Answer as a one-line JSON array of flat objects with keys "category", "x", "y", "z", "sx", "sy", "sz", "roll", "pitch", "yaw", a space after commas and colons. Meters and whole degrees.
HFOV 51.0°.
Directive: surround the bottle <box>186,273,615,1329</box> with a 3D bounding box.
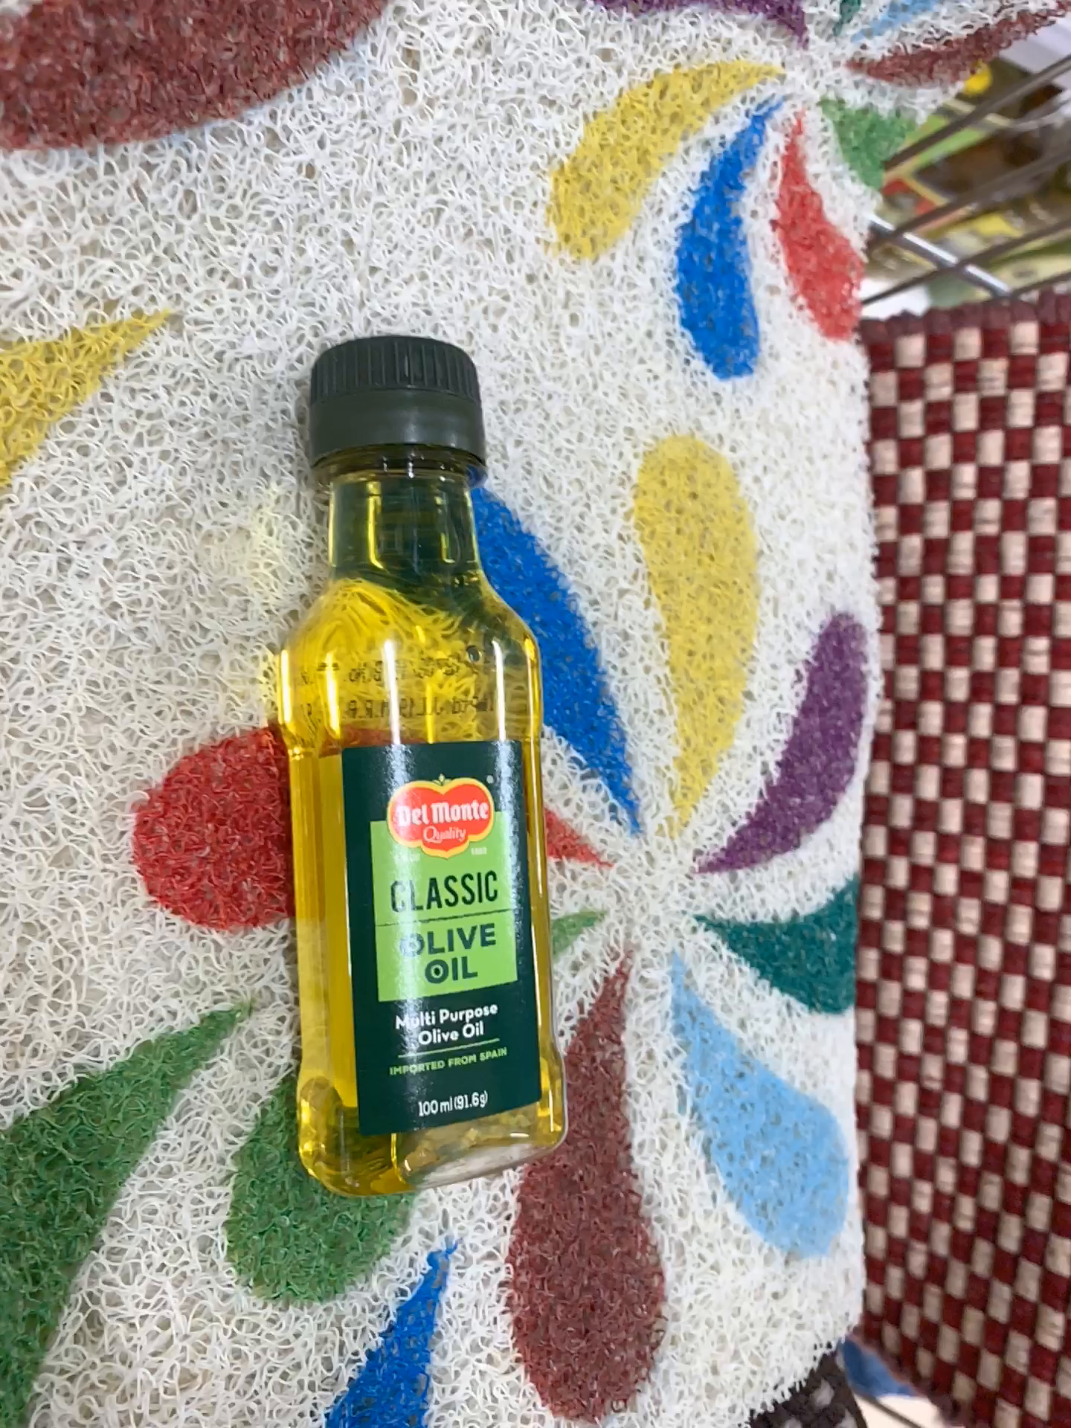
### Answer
[{"category": "bottle", "x": -0.021, "y": 0.011, "z": 0.169, "sx": 0.050, "sy": 0.040, "sz": 0.130, "roll": 1, "pitch": 90, "yaw": -37}]
